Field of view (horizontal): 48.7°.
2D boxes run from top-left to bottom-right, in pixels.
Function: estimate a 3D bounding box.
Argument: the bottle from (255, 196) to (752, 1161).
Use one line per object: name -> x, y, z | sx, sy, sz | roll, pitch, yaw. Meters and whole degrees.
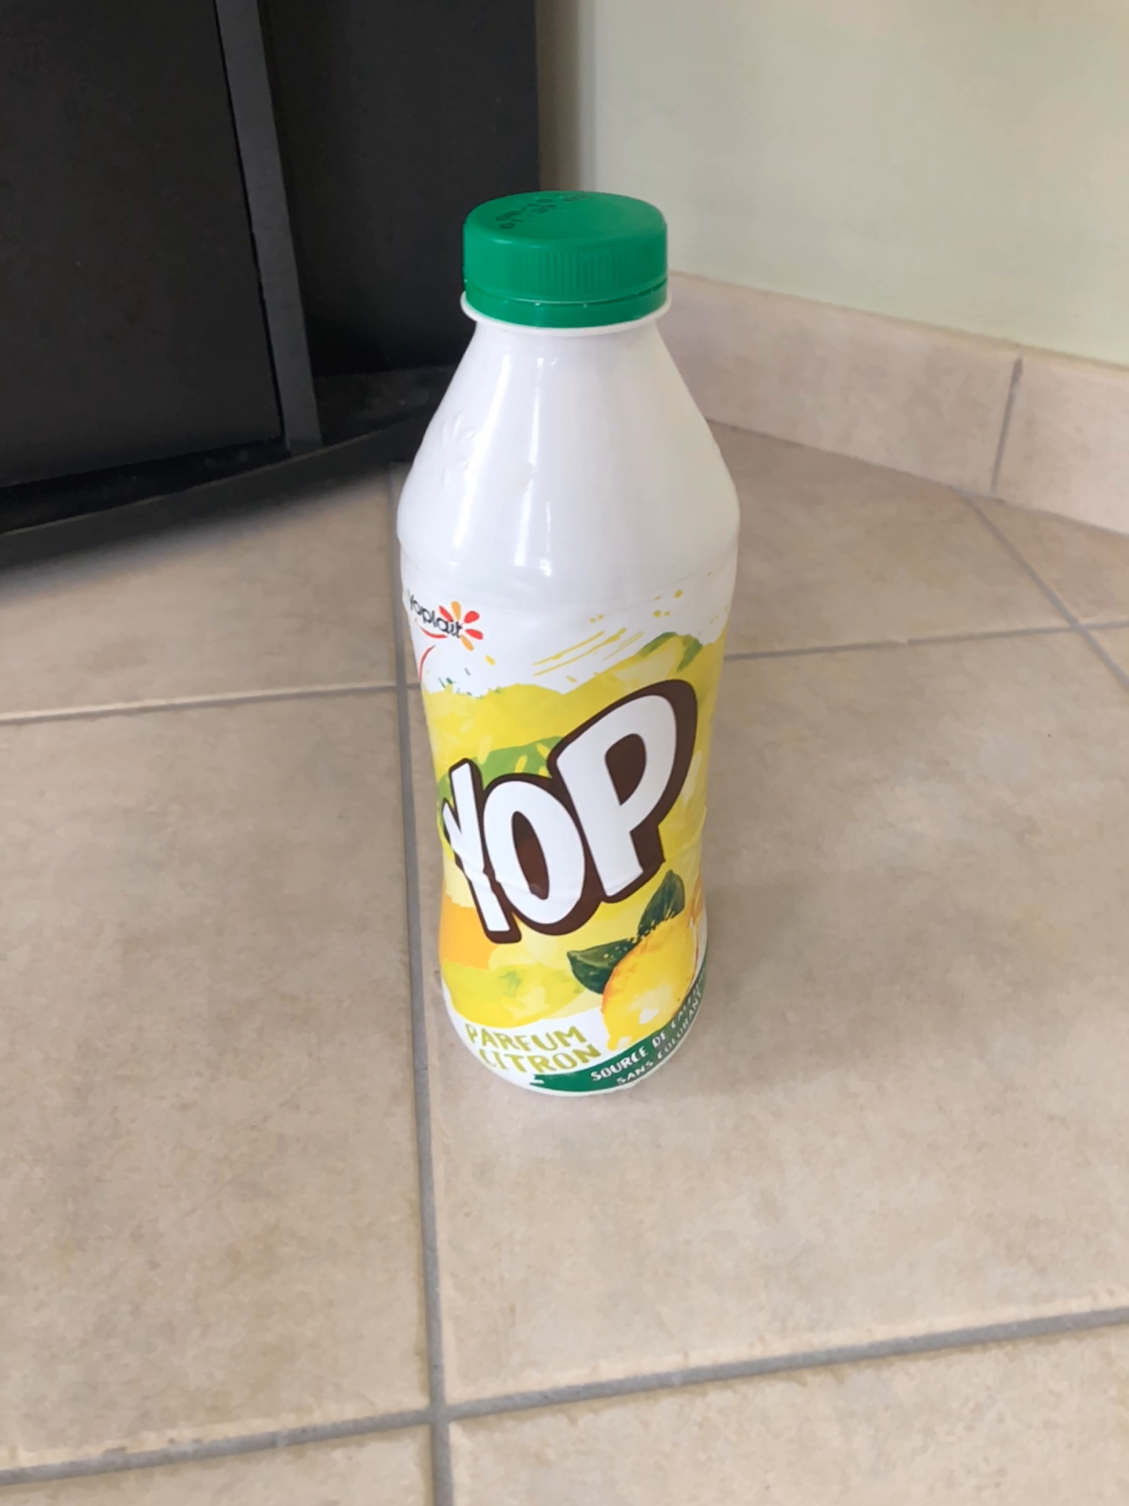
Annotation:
bottle -> -0.005, -0.007, 0.315 | 0.080, 0.229, 0.081 | -1, 37, 1
